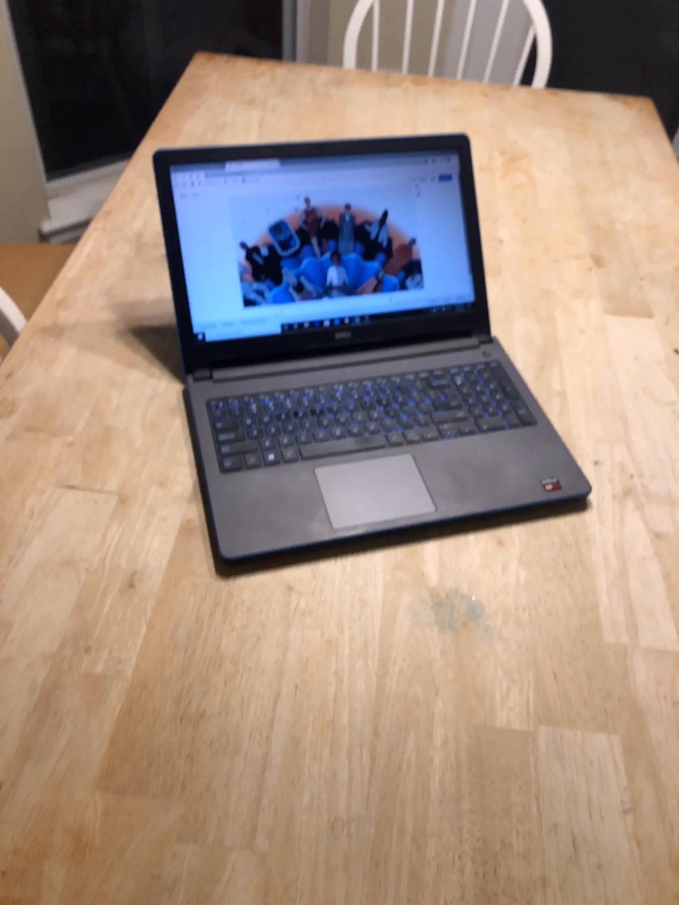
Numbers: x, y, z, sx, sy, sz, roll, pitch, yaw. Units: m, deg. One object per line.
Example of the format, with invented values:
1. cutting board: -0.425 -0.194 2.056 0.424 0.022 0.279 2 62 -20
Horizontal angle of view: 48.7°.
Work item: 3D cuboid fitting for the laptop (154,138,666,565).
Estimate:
1. laptop: 0.029 -0.137 0.775 0.367 0.174 0.420 -9 48 -13
